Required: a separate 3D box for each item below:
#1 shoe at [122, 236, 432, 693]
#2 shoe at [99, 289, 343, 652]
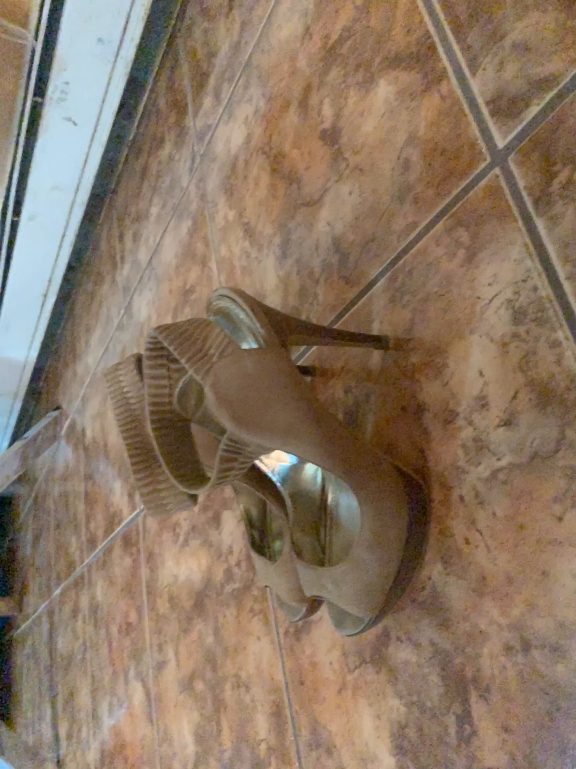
[{"bbox_3d":[-0.003,0.041,0.337,0.082,0.149,0.204,-9,78,60],"label":"shoe"},{"bbox_3d":[-0.045,0.055,0.412,0.082,0.139,0.209,-9,78,60],"label":"shoe"}]
